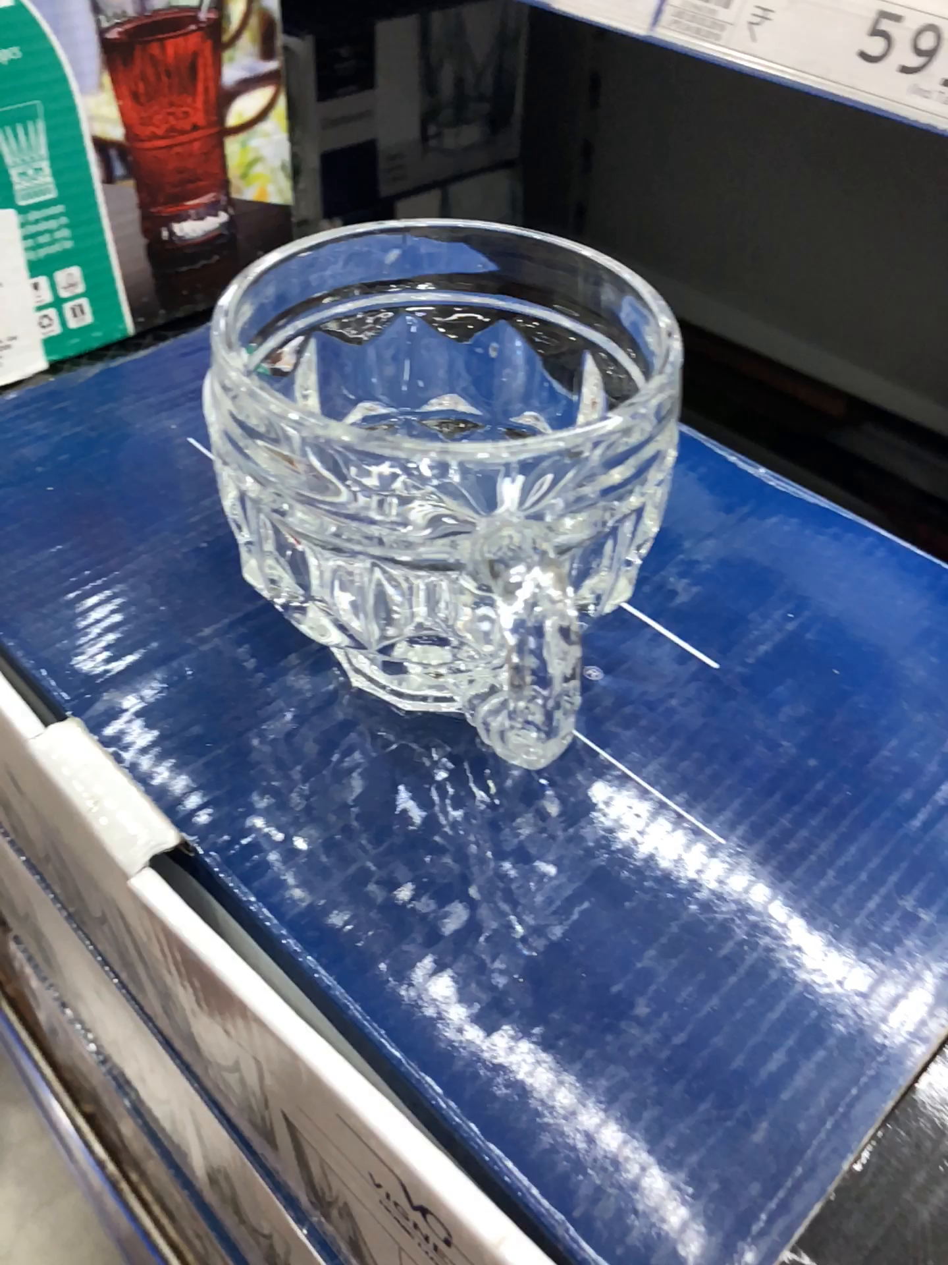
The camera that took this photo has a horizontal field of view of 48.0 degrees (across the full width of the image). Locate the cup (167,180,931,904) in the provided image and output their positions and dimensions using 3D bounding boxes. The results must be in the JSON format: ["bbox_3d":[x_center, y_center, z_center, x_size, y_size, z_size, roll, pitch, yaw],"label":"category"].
[{"bbox_3d":[-0.001,-0.025,0.182,0.090,0.060,0.110,-6,44,-11],"label":"cup"}]
